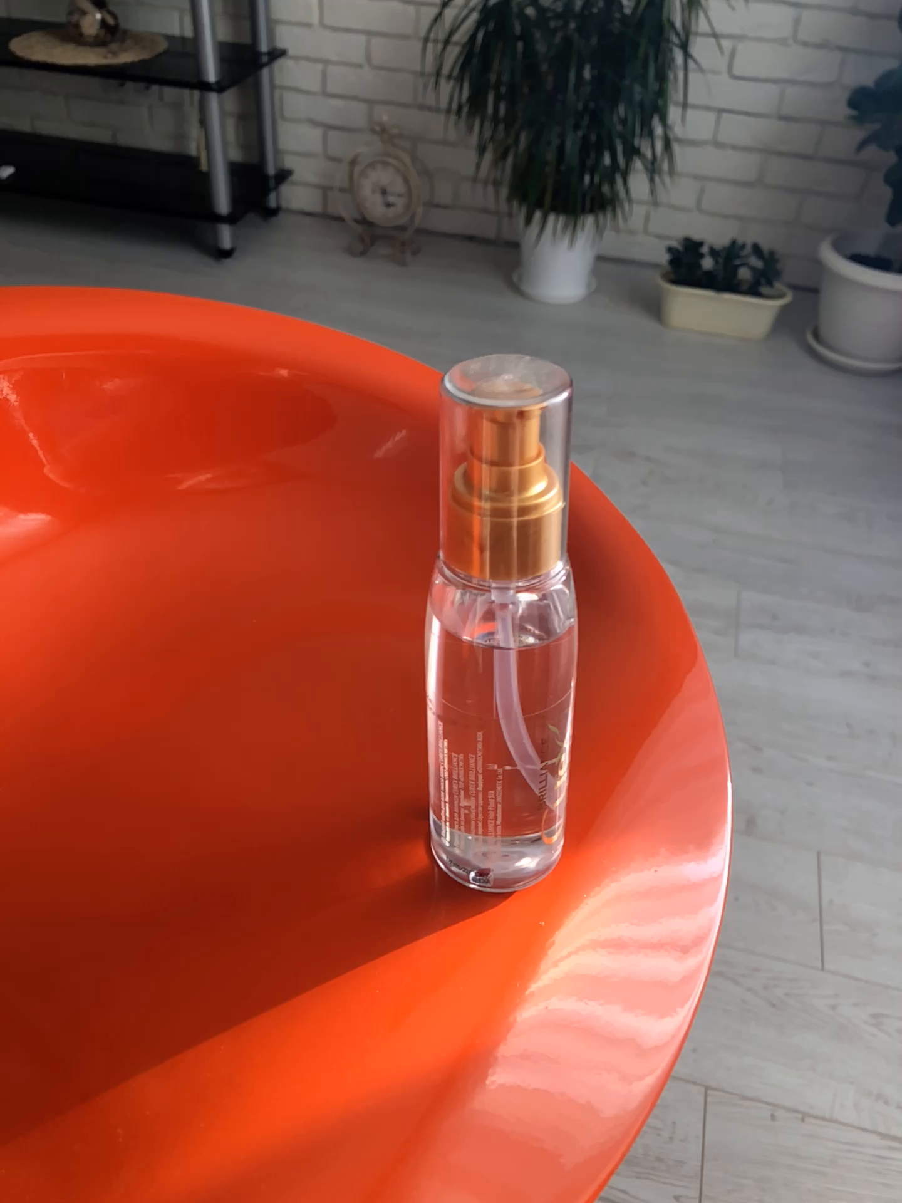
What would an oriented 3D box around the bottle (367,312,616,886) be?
[{"bbox_3d":[0.010,0.006,0.264,0.050,0.149,0.050,-2,36,1],"label":"bottle"}]
